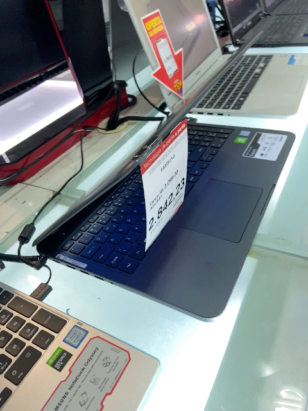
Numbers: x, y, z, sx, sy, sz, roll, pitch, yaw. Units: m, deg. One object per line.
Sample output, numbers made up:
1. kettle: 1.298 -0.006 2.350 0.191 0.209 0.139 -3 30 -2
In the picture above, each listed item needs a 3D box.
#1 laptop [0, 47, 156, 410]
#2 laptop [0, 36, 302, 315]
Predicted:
1. laptop: -0.250 0.108 0.149 0.331 0.240 0.370 14 44 27
2. laptop: 0.029 -0.090 0.415 0.231 0.146 0.367 13 43 27
